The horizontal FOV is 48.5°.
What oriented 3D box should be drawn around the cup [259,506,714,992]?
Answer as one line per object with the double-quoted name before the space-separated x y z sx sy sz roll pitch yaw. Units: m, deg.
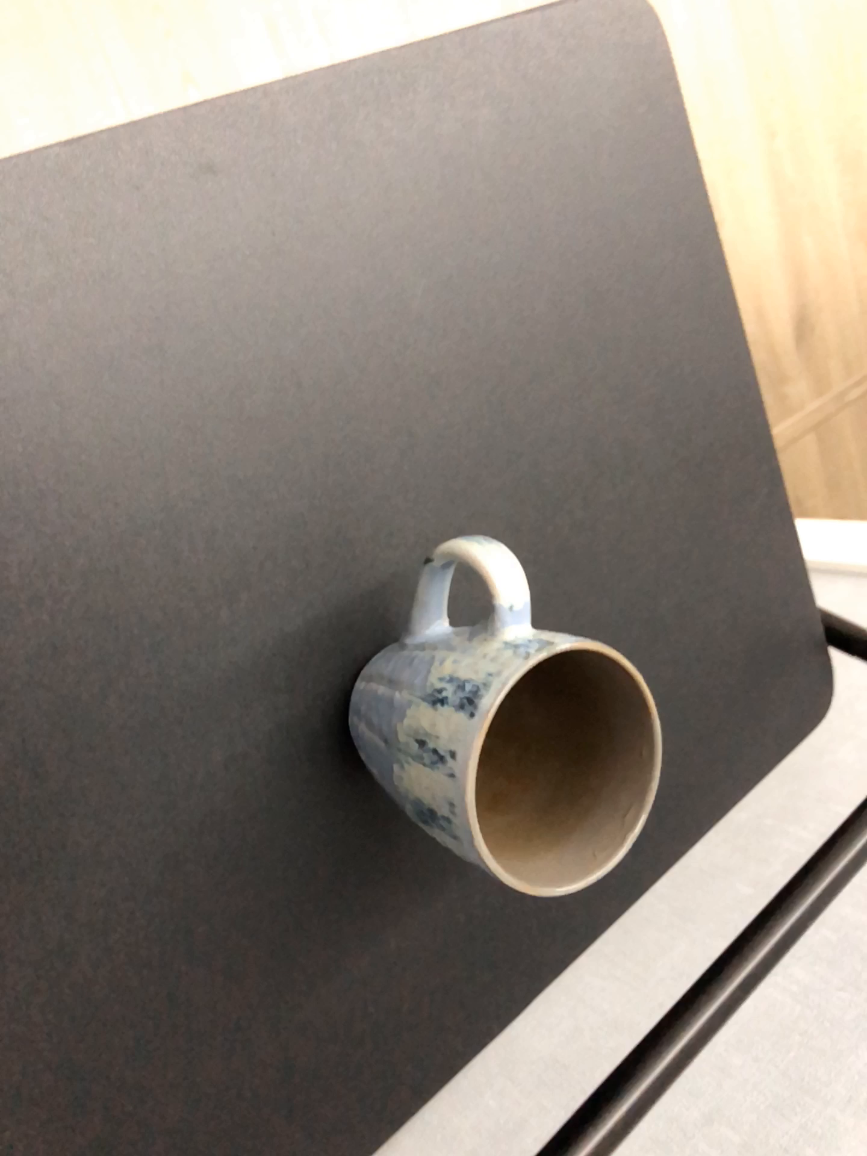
"cup" 0.018 0.048 0.338 0.089 0.107 0.120 -24 109 -31
